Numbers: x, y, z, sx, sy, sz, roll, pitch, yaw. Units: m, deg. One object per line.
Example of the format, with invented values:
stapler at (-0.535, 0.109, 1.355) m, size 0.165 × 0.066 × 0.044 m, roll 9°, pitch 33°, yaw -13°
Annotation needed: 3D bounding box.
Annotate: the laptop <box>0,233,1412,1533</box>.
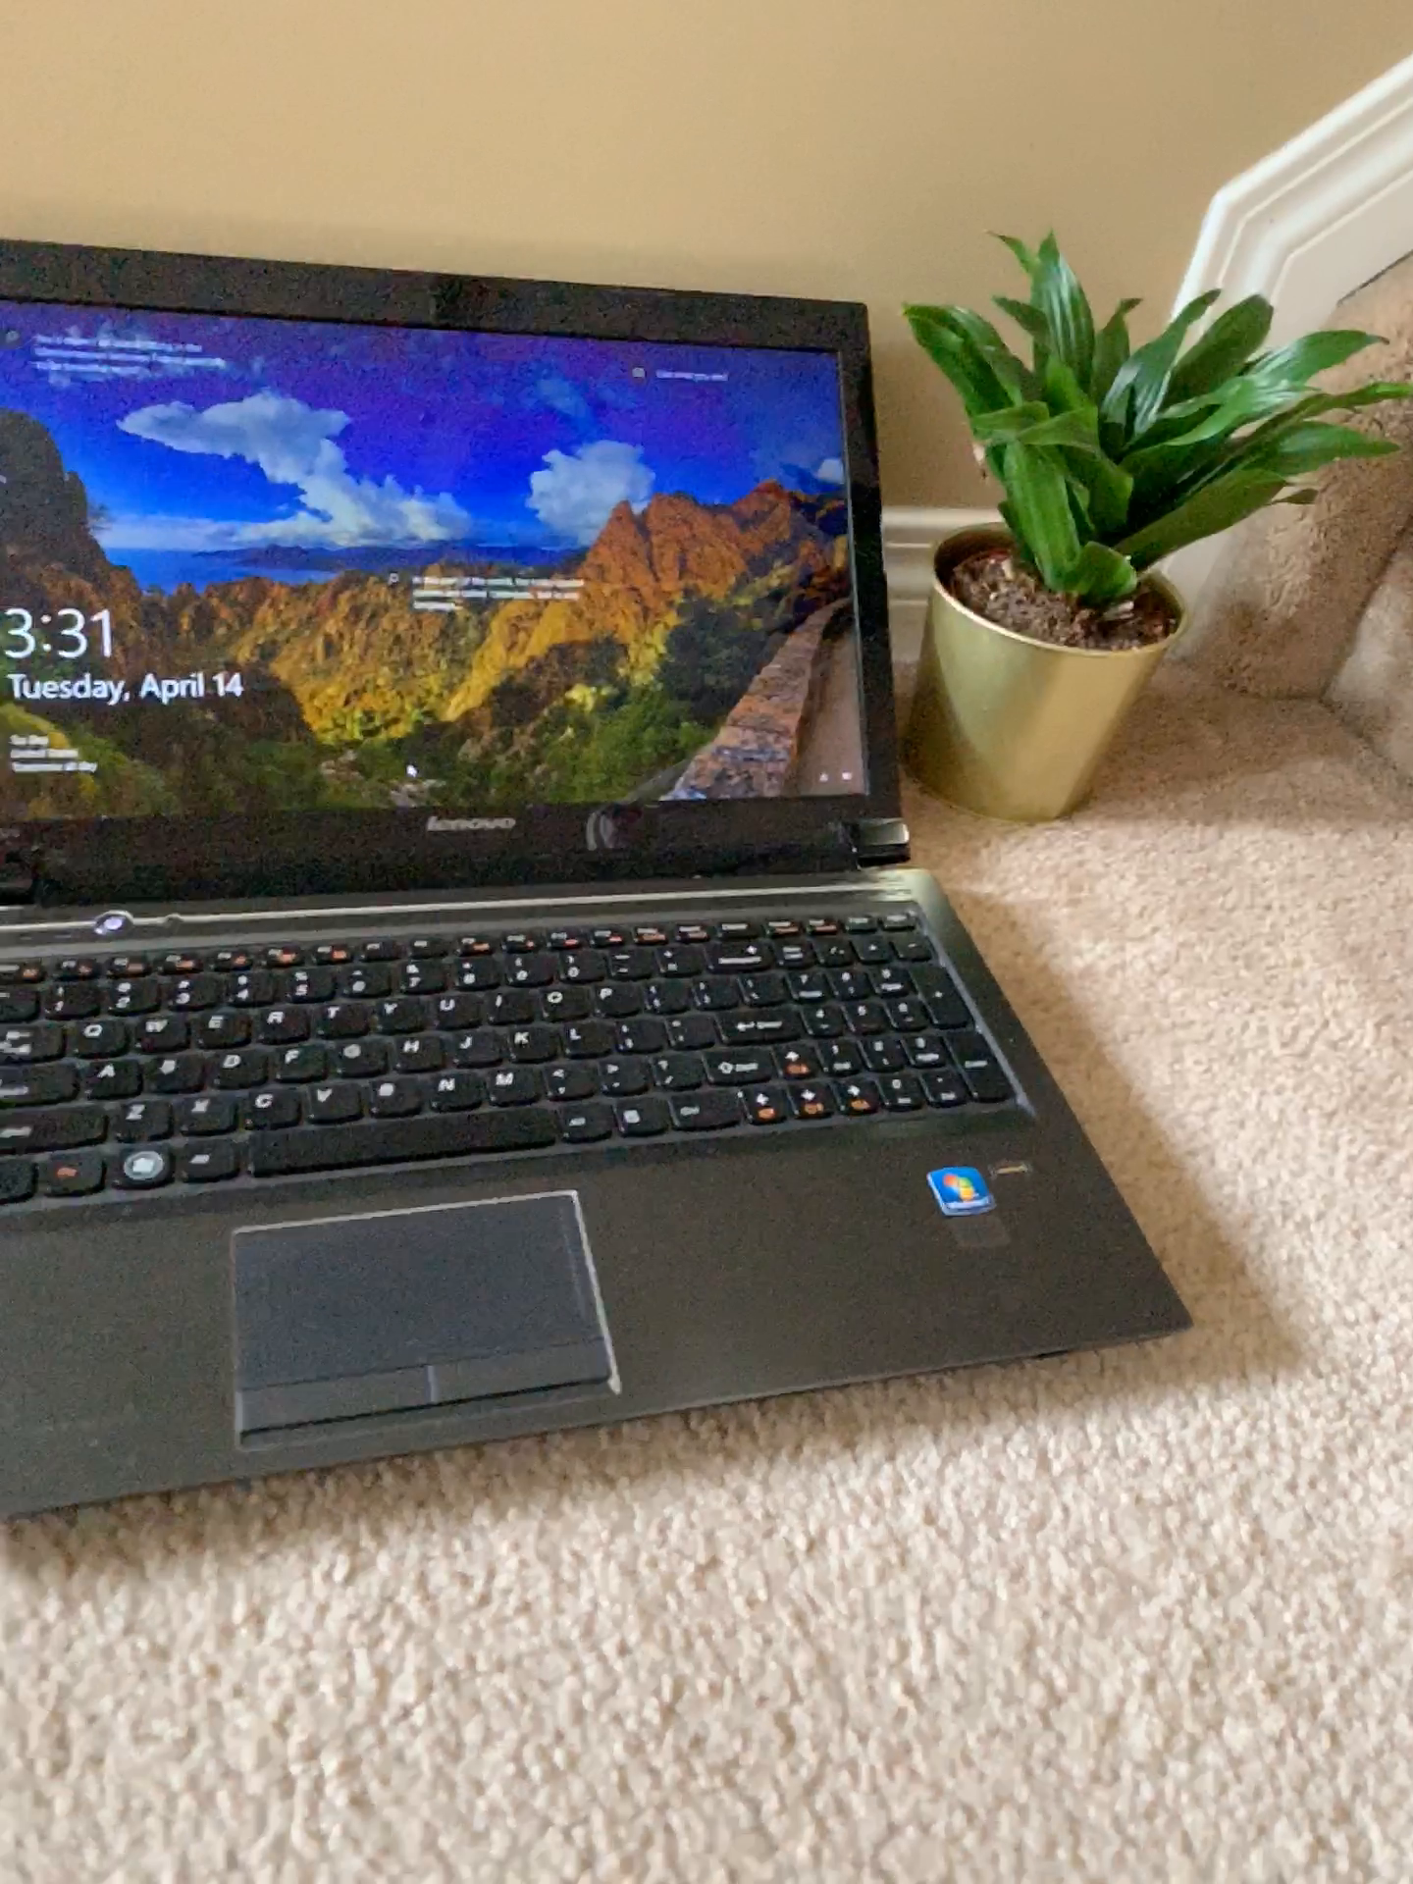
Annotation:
laptop at (-0.072, -0.068, 0.484) m, size 0.372 × 0.166 × 0.412 m, roll -3°, pitch 42°, yaw -18°
